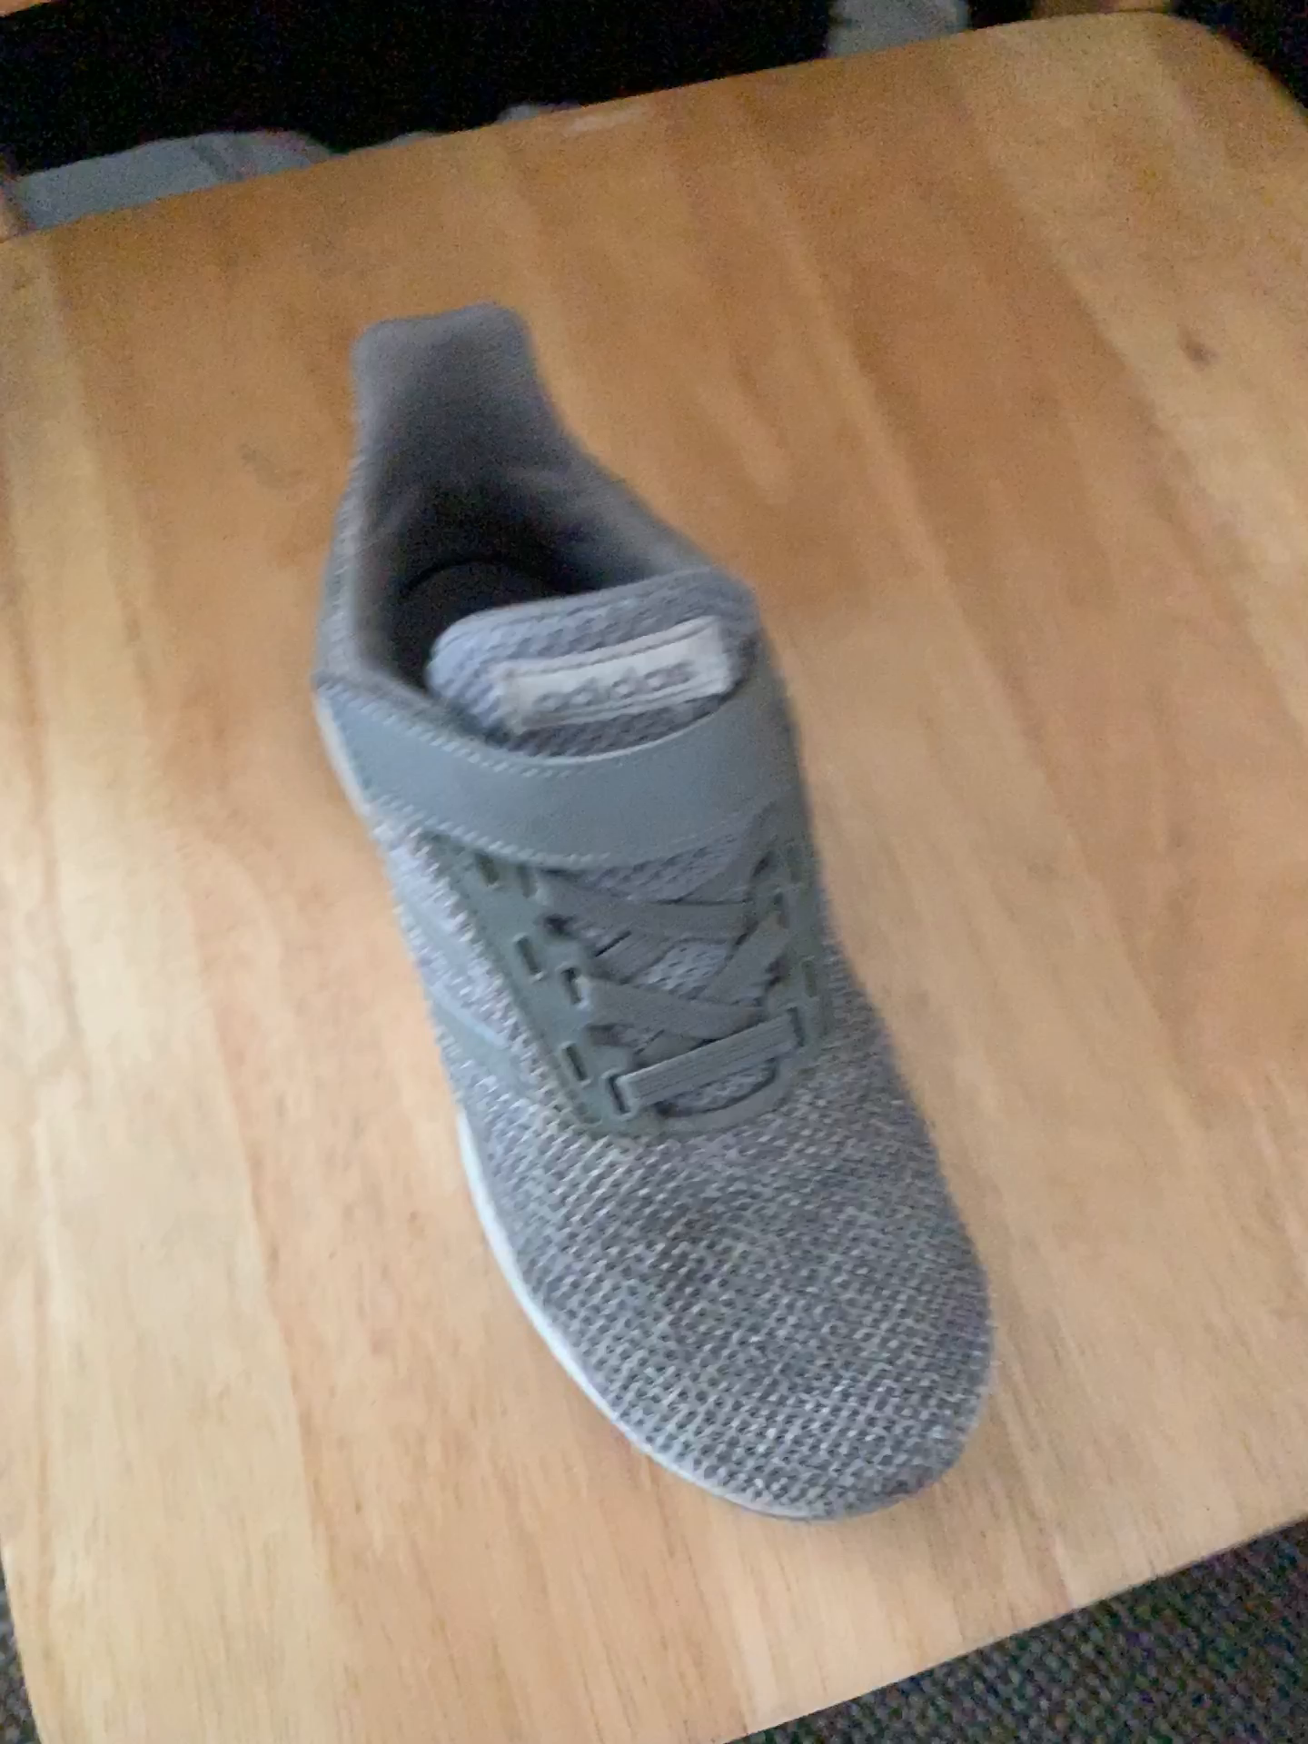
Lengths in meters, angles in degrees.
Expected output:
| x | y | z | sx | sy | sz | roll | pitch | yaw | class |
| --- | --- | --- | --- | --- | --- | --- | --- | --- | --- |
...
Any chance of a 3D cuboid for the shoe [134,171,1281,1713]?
| x | y | z | sx | sy | sz | roll | pitch | yaw | class |
| --- | --- | --- | --- | --- | --- | --- | --- | --- | --- |
| -0.004 | 0.001 | 0.239 | 0.090 | 0.080 | 0.221 | -21 | 73 | -9 | shoe |
